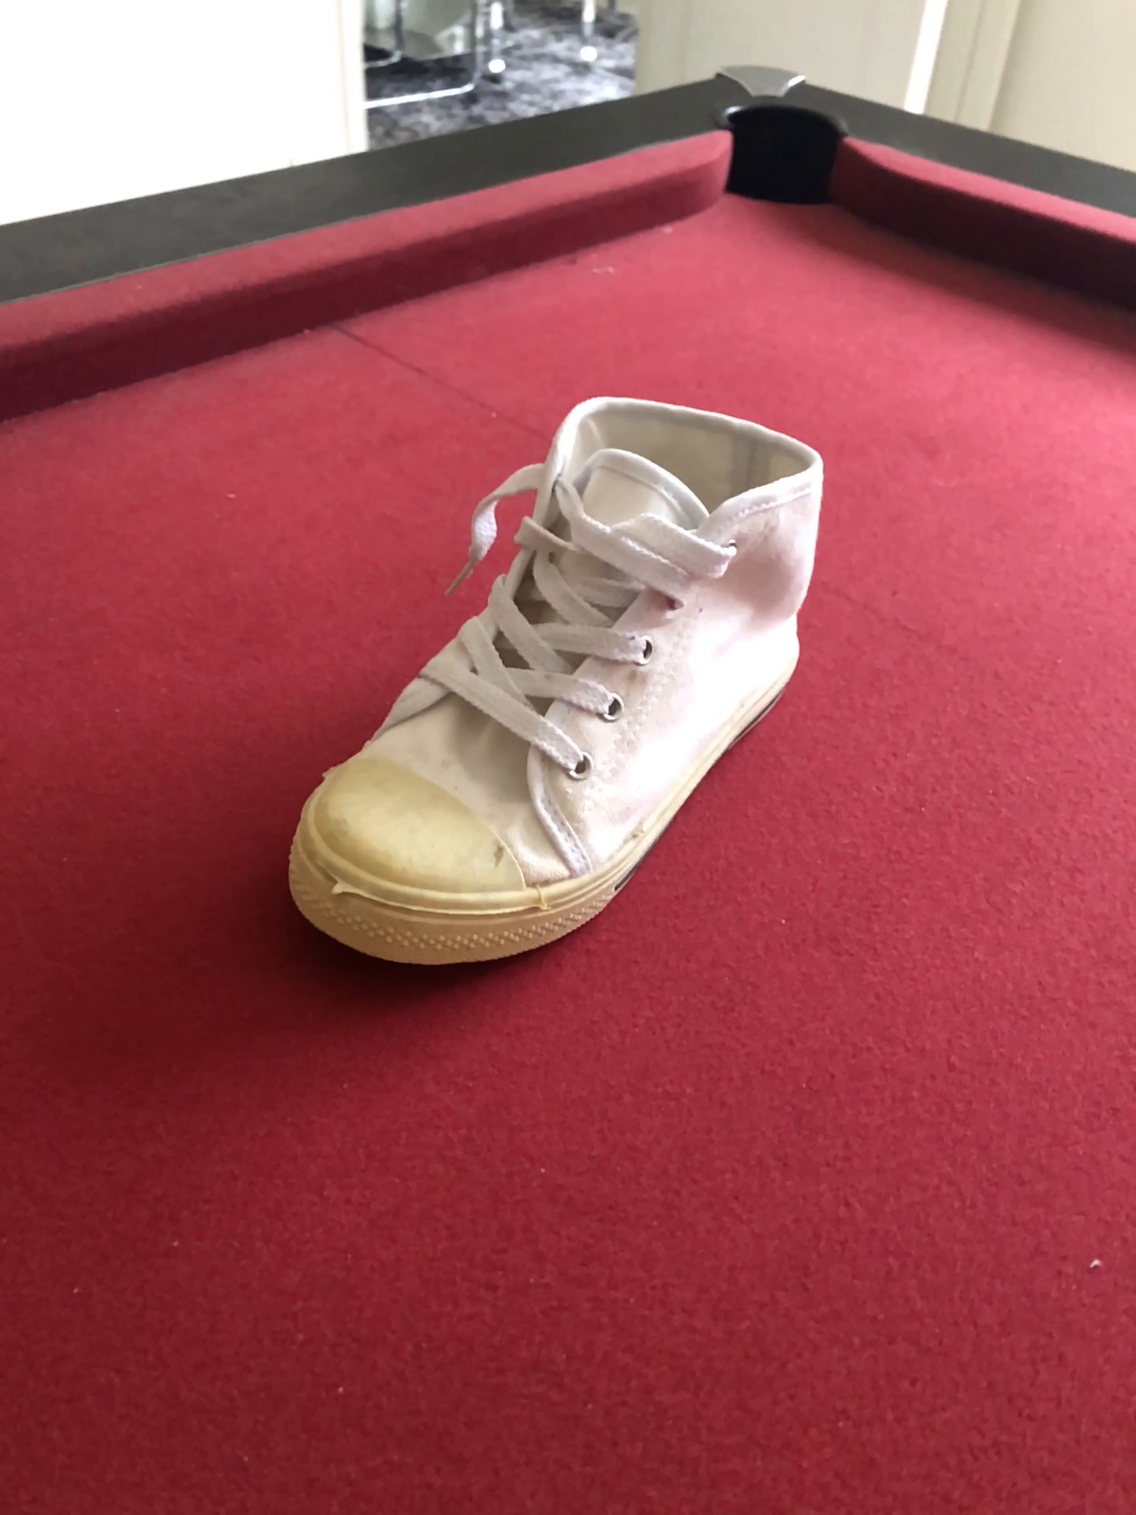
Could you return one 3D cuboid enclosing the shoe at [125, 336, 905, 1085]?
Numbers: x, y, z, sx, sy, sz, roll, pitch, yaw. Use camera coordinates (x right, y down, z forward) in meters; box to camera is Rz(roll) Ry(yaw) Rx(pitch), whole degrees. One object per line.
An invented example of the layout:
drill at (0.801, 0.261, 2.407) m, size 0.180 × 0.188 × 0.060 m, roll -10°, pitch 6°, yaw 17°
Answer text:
shoe at (0.000, -0.033, 0.363) m, size 0.100 × 0.089 × 0.221 m, roll 24°, pitch 44°, yaw 23°
